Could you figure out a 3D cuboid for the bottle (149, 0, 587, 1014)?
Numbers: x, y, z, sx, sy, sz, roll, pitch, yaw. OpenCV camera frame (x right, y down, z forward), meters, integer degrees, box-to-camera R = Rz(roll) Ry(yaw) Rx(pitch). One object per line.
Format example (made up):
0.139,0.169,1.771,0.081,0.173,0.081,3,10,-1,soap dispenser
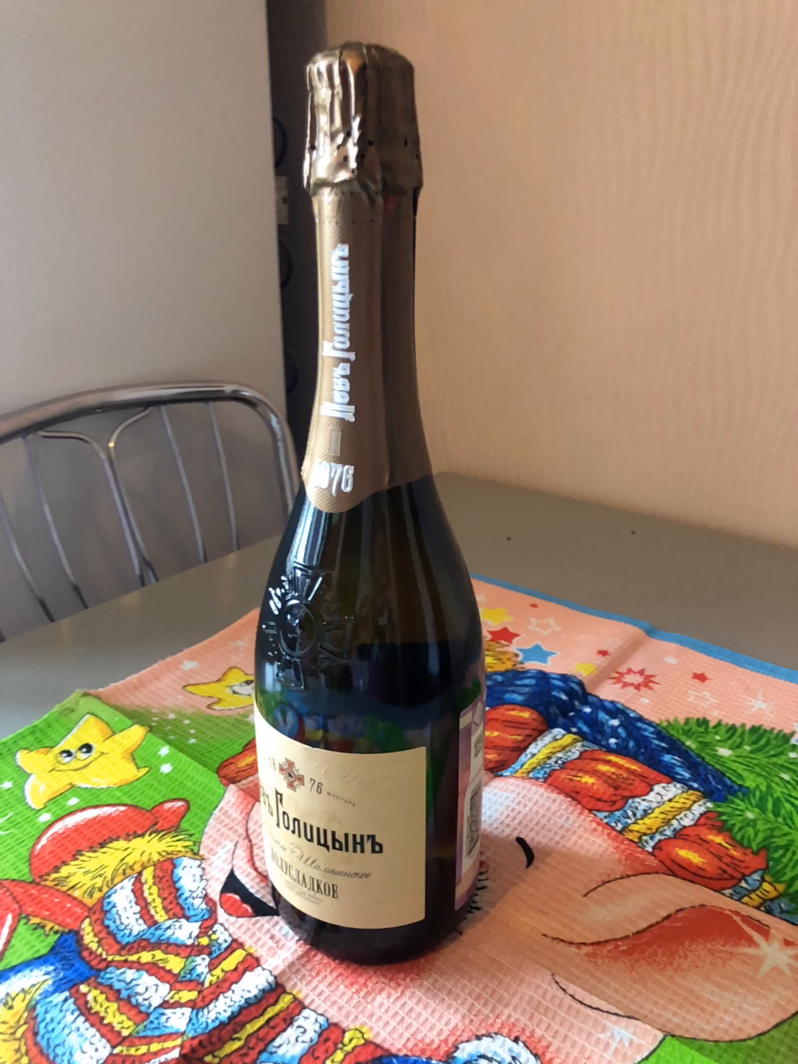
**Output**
-0.007,-0.001,0.313,0.090,0.309,0.093,0,20,0,bottle
